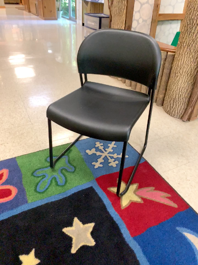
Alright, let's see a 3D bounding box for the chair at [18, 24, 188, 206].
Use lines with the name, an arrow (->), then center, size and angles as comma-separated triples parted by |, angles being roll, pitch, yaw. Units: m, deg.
chair -> 0.056, -0.168, 1.191 | 0.611, 0.735, 0.633 | 18, 36, 21
